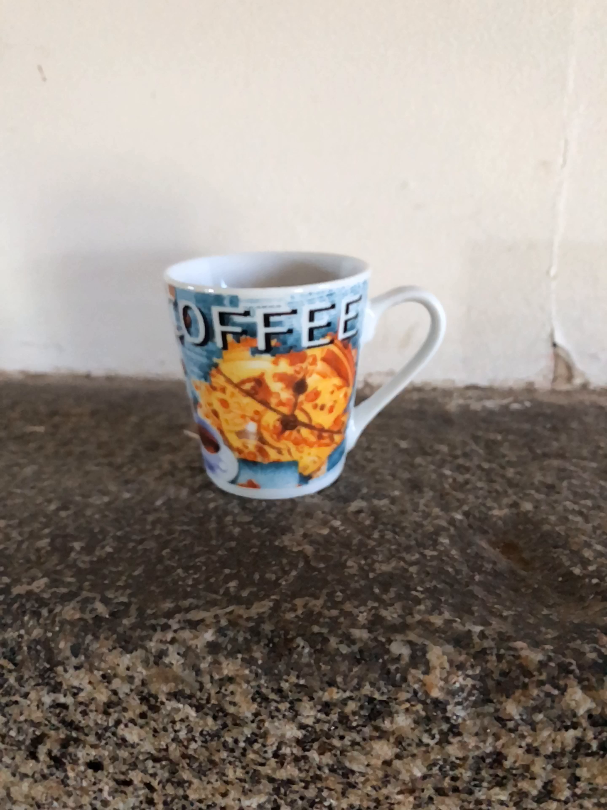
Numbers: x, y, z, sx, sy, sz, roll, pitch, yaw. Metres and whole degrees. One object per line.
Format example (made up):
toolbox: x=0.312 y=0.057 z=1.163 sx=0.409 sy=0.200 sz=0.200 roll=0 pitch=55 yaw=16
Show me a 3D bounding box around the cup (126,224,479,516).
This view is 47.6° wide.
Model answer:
cup: x=-0.001 y=-0.014 z=0.193 sx=0.080 sy=0.060 sz=0.060 roll=-5 pitch=21 yaw=-5
